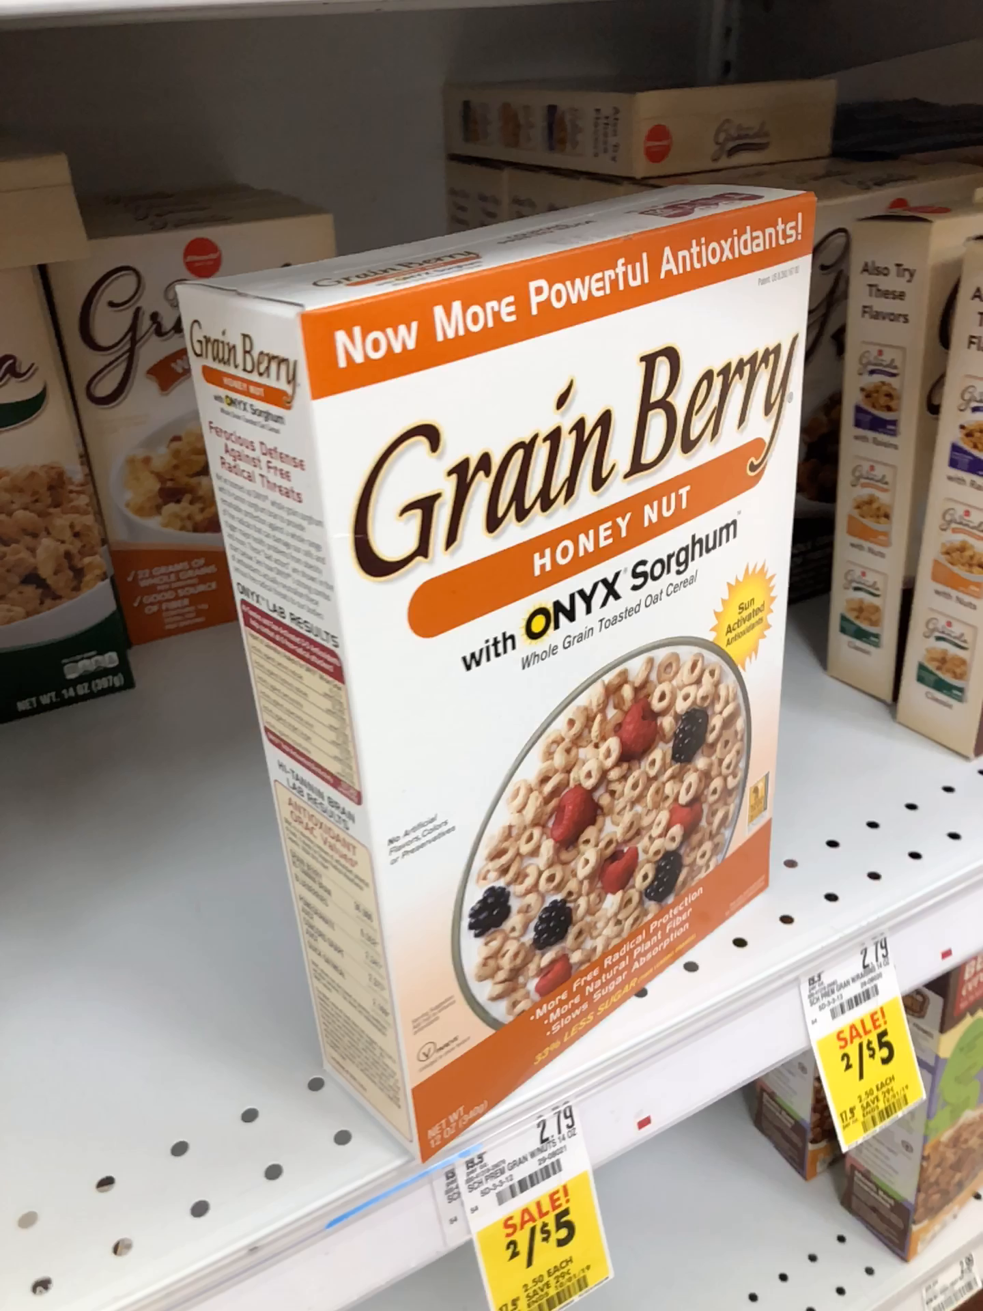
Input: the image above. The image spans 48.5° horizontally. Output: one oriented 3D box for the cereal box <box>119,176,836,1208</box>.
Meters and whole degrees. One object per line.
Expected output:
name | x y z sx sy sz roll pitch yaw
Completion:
cereal box | 0.015 0.009 0.369 0.200 0.289 0.070 -27 37 -34
